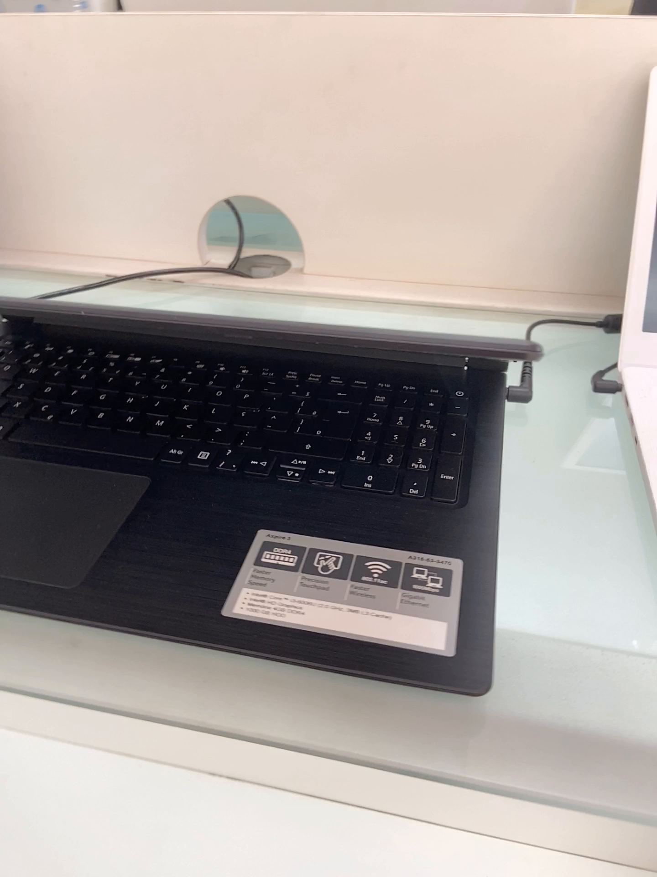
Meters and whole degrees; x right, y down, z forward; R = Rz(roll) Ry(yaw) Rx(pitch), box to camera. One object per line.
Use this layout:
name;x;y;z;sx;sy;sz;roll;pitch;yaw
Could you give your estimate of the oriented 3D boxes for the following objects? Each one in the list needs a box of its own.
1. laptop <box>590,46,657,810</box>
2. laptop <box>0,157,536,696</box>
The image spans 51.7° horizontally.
laptop;0.367;-0.071;0.342;0.381;0.165;0.353;7;37;8
laptop;-0.098;-0.045;0.353;0.378;0.123;0.241;7;37;12
